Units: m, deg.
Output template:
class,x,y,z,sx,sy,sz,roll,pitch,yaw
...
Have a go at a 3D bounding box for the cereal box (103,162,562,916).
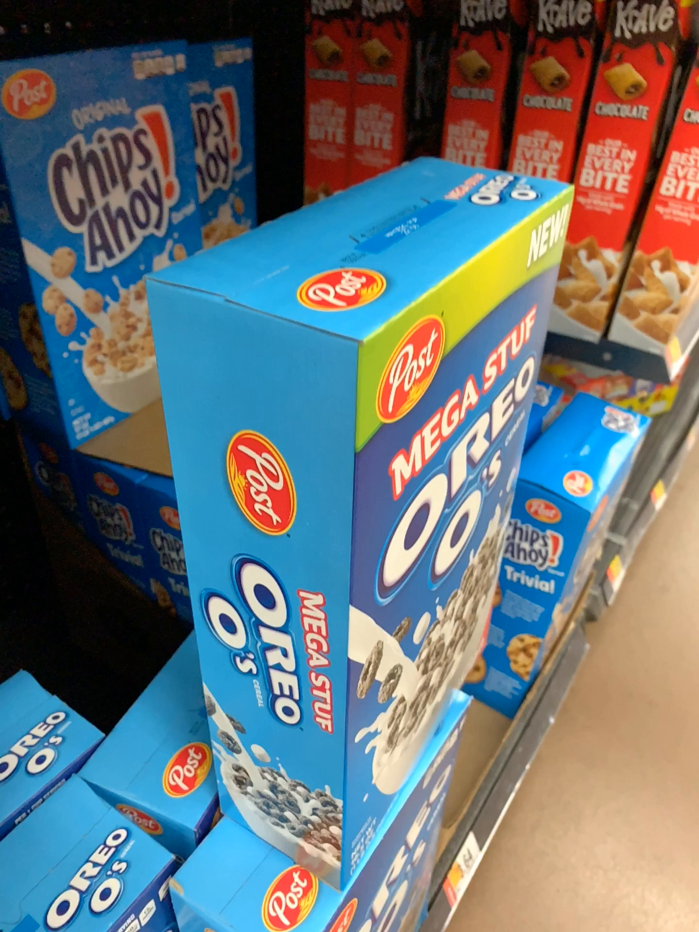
class,x,y,z,sx,sy,sz,roll,pitch,yaw
cereal box,0.010,0.034,0.355,0.080,0.298,0.201,18,38,24
